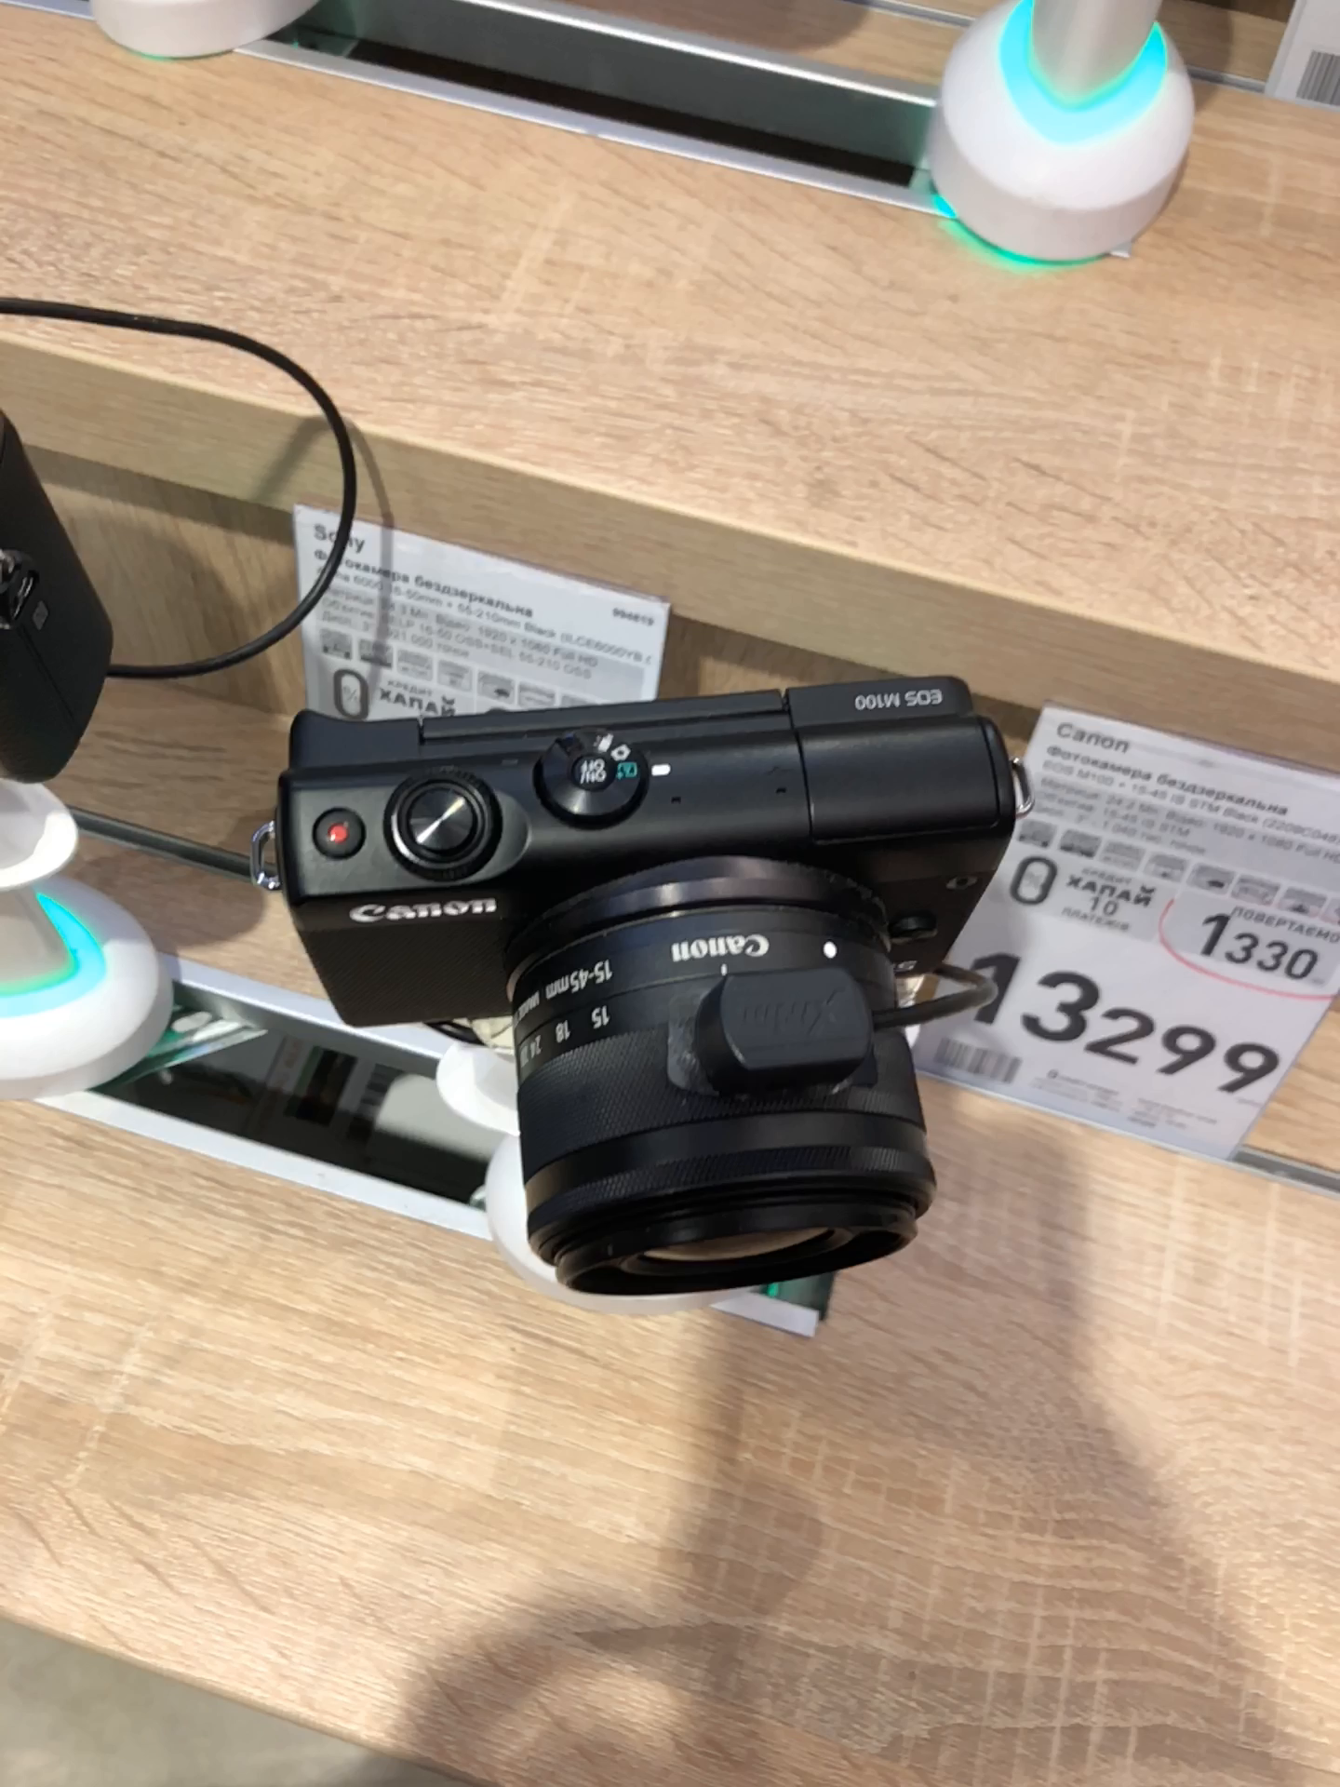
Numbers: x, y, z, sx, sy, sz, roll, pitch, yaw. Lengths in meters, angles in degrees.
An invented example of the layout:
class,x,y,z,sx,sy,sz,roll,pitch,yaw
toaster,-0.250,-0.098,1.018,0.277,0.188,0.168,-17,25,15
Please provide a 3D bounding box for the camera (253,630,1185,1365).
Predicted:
class,x,y,z,sx,sy,sz,roll,pitch,yaw
camera,0.001,0.016,0.222,0.112,0.060,0.082,-5,65,-6
